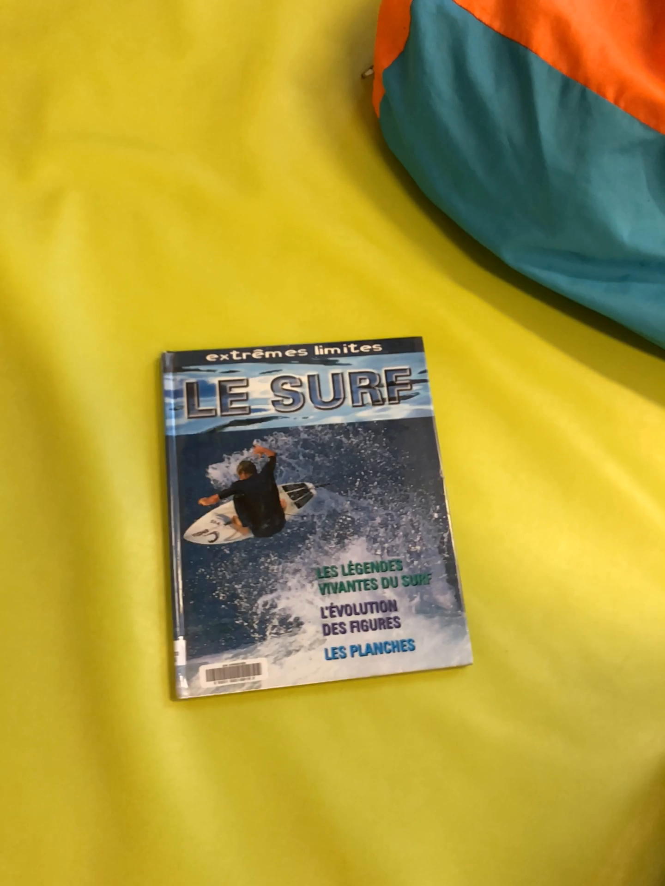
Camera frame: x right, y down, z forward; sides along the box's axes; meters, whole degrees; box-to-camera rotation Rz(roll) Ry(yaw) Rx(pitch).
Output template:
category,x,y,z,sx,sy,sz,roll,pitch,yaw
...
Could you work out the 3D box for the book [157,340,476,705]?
category,x,y,z,sx,sy,sz,roll,pitch,yaw
book,-0.018,0.051,0.581,0.226,0.016,0.273,-4,73,-8
